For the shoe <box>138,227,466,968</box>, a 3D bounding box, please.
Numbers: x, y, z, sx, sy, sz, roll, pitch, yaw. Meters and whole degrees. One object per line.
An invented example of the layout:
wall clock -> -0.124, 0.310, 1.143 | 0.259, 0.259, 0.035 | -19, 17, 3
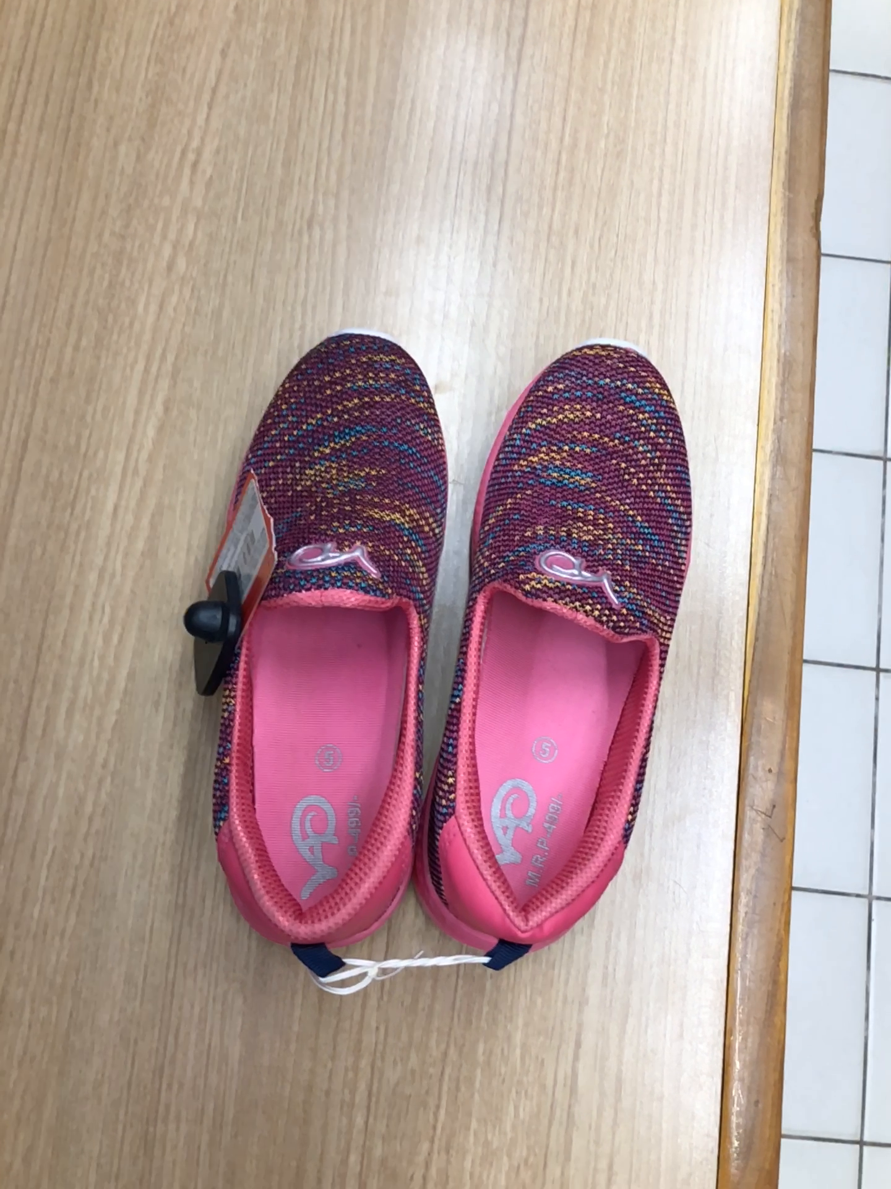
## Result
shoe -> -0.047, 0.002, 0.385 | 0.090, 0.100, 0.250 | 4, 80, -1

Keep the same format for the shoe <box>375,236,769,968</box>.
shoe -> 0.050, 0.003, 0.416 | 0.100, 0.100, 0.260 | 12, 80, 0
